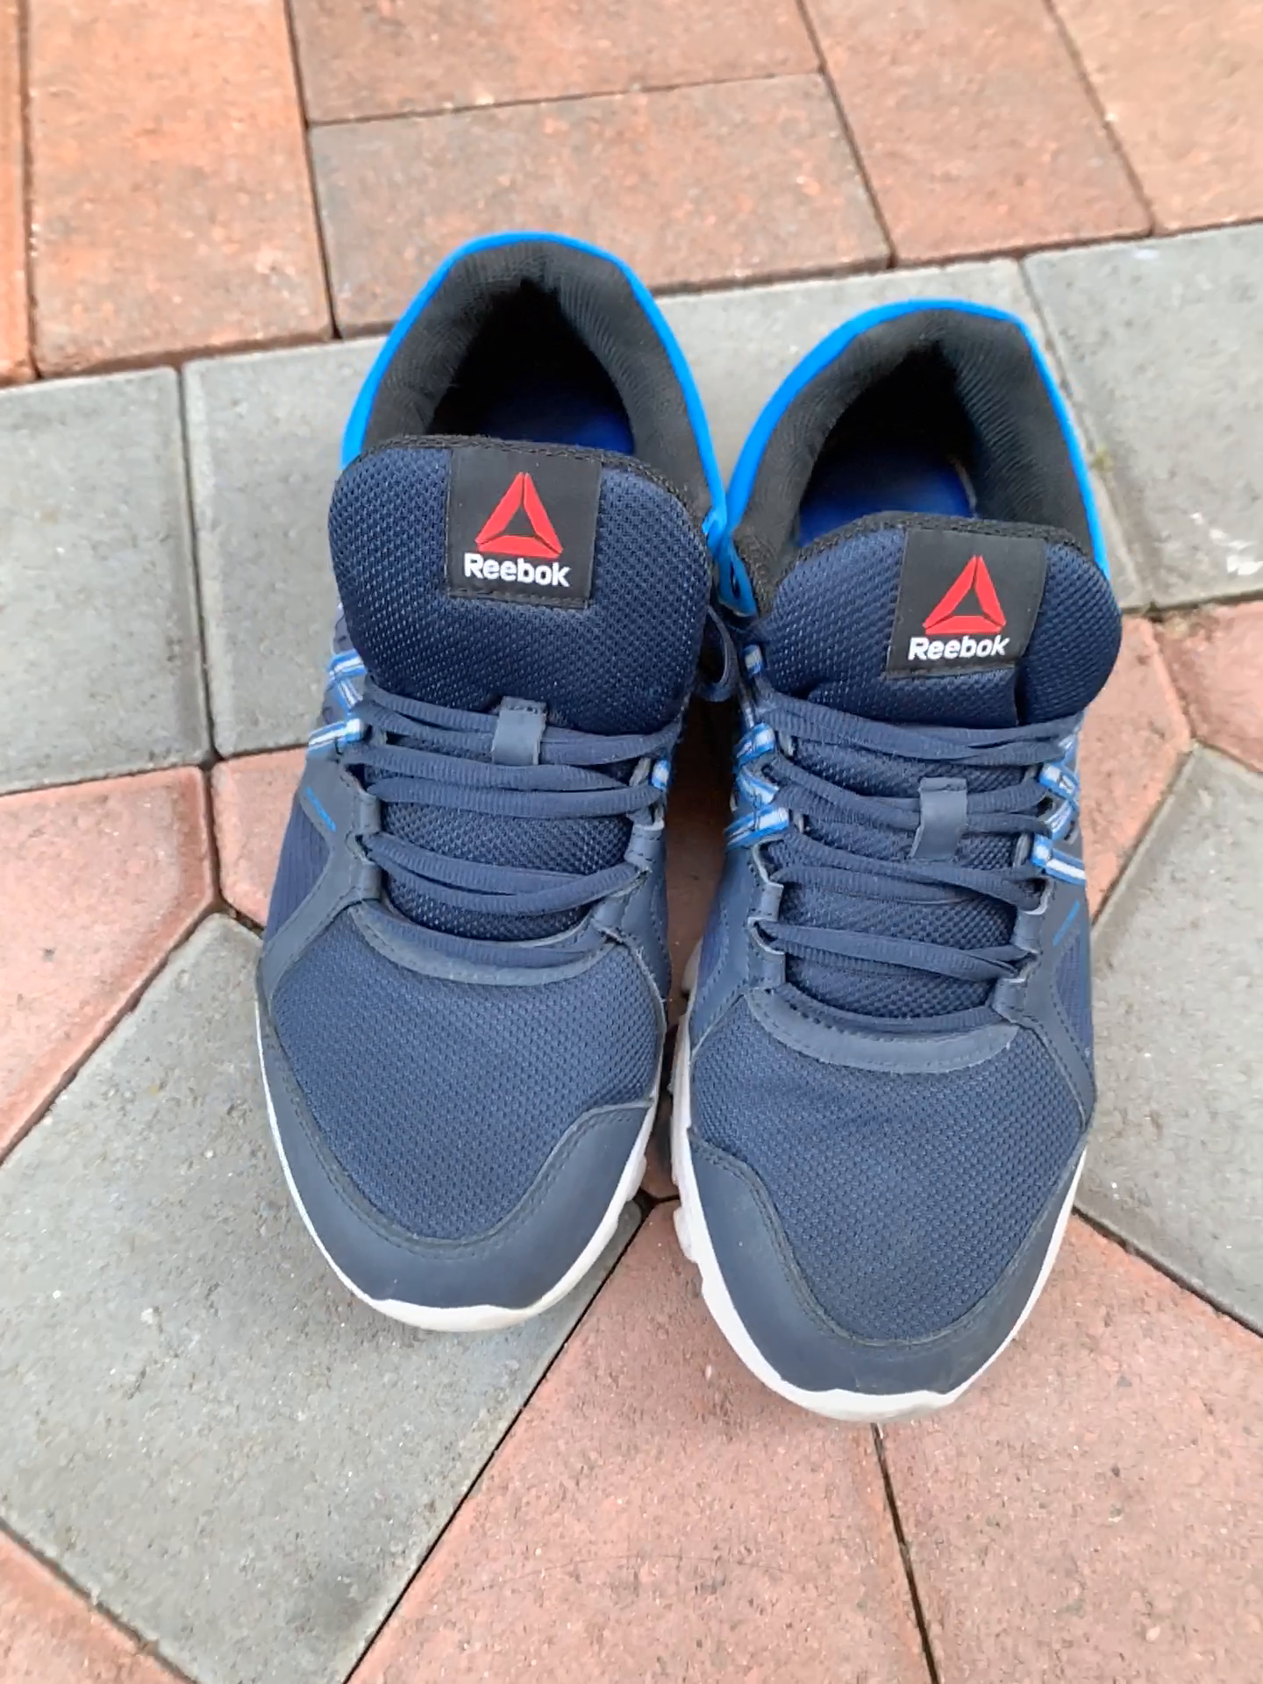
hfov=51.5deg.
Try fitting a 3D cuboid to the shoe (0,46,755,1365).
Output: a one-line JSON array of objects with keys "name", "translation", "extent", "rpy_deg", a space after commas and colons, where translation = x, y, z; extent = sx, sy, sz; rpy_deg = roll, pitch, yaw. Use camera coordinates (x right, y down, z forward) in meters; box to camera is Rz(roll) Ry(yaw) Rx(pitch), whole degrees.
[{"name": "shoe", "translation": [-0.043, -0.028, 0.298], "extent": [0.110, 0.119, 0.261], "rpy_deg": [6, 69, 0]}]

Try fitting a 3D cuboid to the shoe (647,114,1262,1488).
[{"name": "shoe", "translation": [0.075, -0.014, 0.312], "extent": [0.110, 0.119, 0.281], "rpy_deg": [6, 69, 0]}]
